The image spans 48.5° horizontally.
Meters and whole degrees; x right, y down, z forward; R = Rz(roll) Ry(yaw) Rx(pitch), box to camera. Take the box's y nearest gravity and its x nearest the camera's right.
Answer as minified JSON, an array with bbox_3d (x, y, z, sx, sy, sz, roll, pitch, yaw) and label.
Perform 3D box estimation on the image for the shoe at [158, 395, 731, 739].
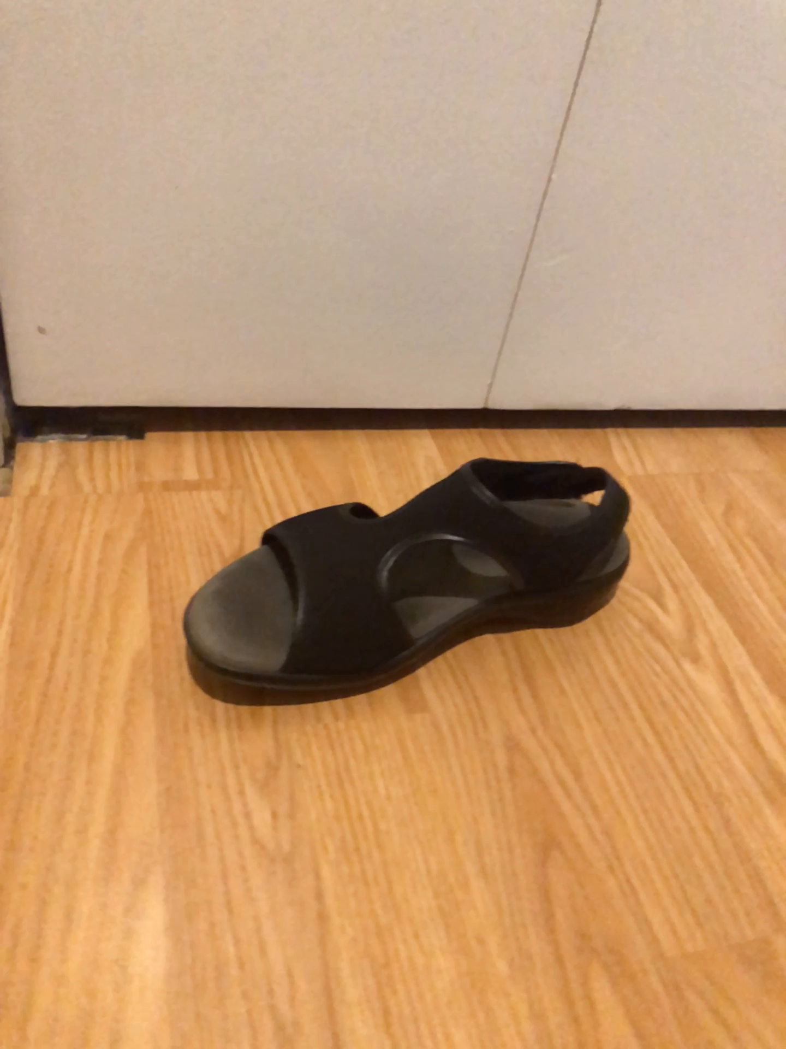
[{"bbox_3d":[0.020,0.011,0.433,0.250,0.100,0.100,-6,43,-22],"label":"shoe"}]
